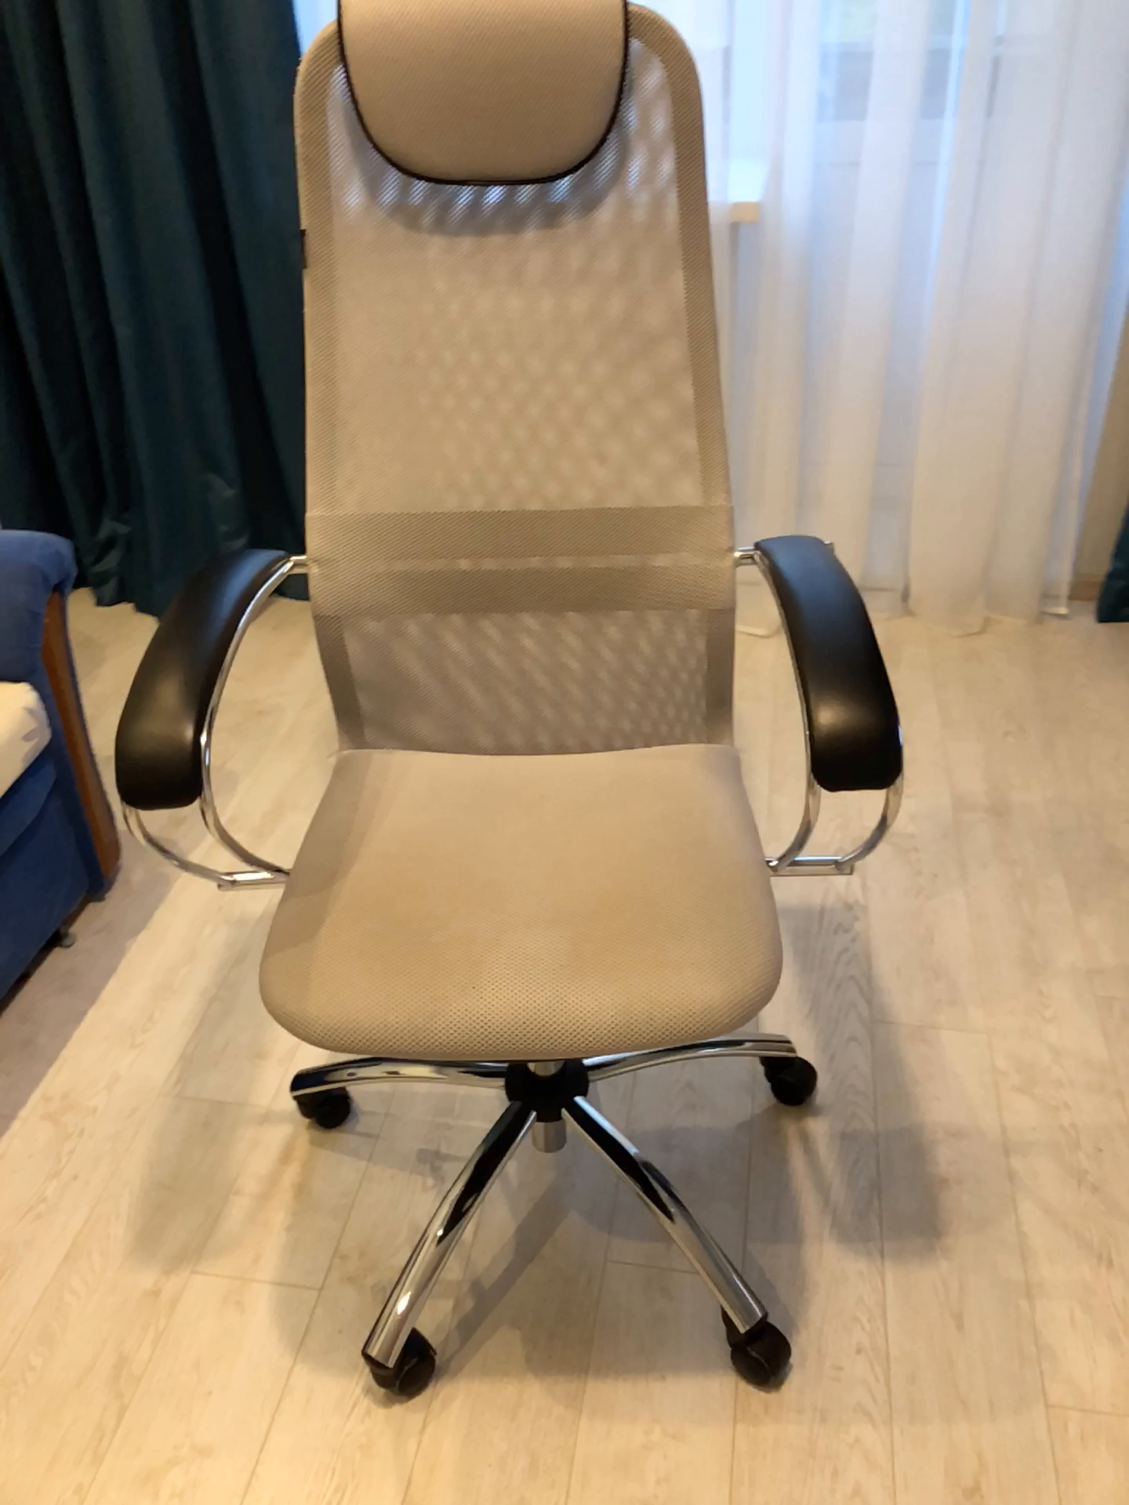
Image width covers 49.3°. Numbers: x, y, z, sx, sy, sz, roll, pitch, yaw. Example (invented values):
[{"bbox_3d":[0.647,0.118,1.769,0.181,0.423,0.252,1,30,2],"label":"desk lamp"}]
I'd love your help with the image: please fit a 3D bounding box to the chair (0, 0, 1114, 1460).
[{"bbox_3d":[-0.036,-0.054,1.132,0.680,1.152,0.695,1,31,8],"label":"chair"}]
